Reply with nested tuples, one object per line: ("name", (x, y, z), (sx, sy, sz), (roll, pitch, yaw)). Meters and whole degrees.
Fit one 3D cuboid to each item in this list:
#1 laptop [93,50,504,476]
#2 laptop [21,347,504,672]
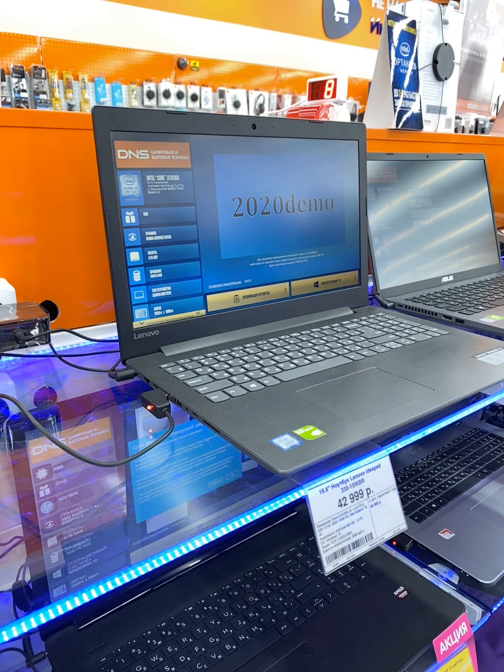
("laptop", (0.090, -0.097, 0.514), (0.377, 0.245, 0.290), (-12, 21, -35))
("laptop", (0.022, 0.202, 0.553), (0.401, 0.263, 0.272), (-13, 20, -37))
